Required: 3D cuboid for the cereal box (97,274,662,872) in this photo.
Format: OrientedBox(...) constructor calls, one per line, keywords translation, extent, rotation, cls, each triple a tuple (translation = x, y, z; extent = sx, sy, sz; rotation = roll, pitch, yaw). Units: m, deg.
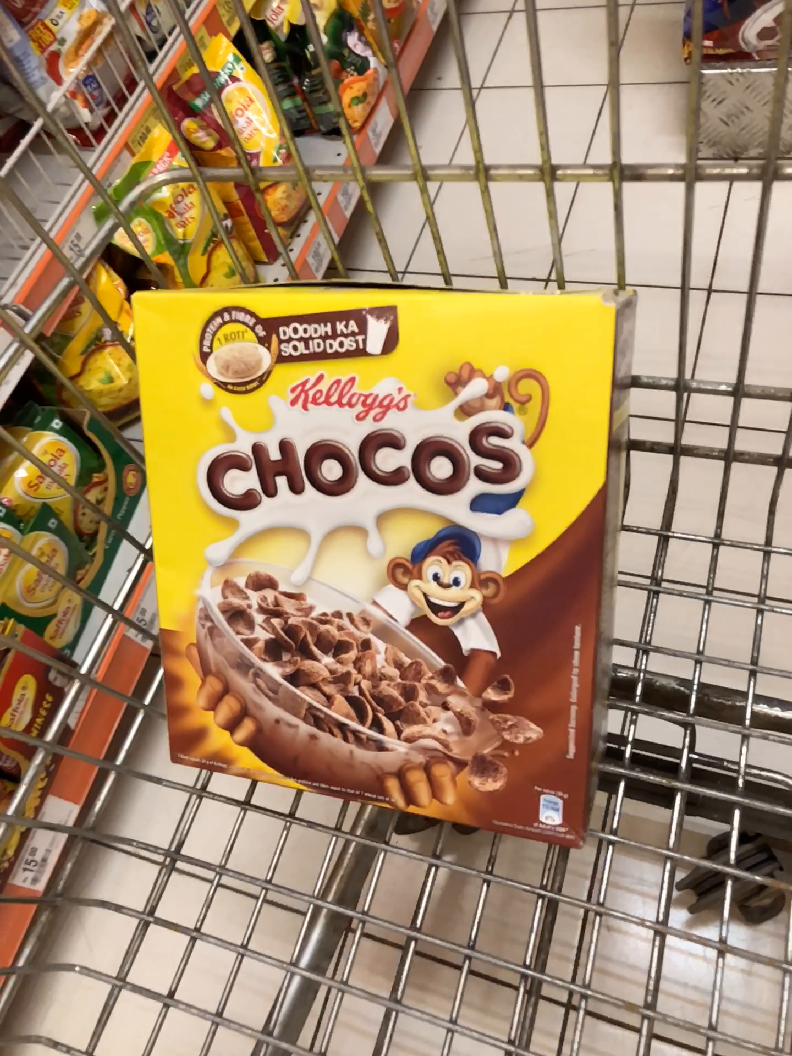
OrientedBox(translation=(-0.006, 0.005, 0.340), extent=(0.190, 0.070, 0.200), rotation=(6, 106, 19), cls="cereal box")
